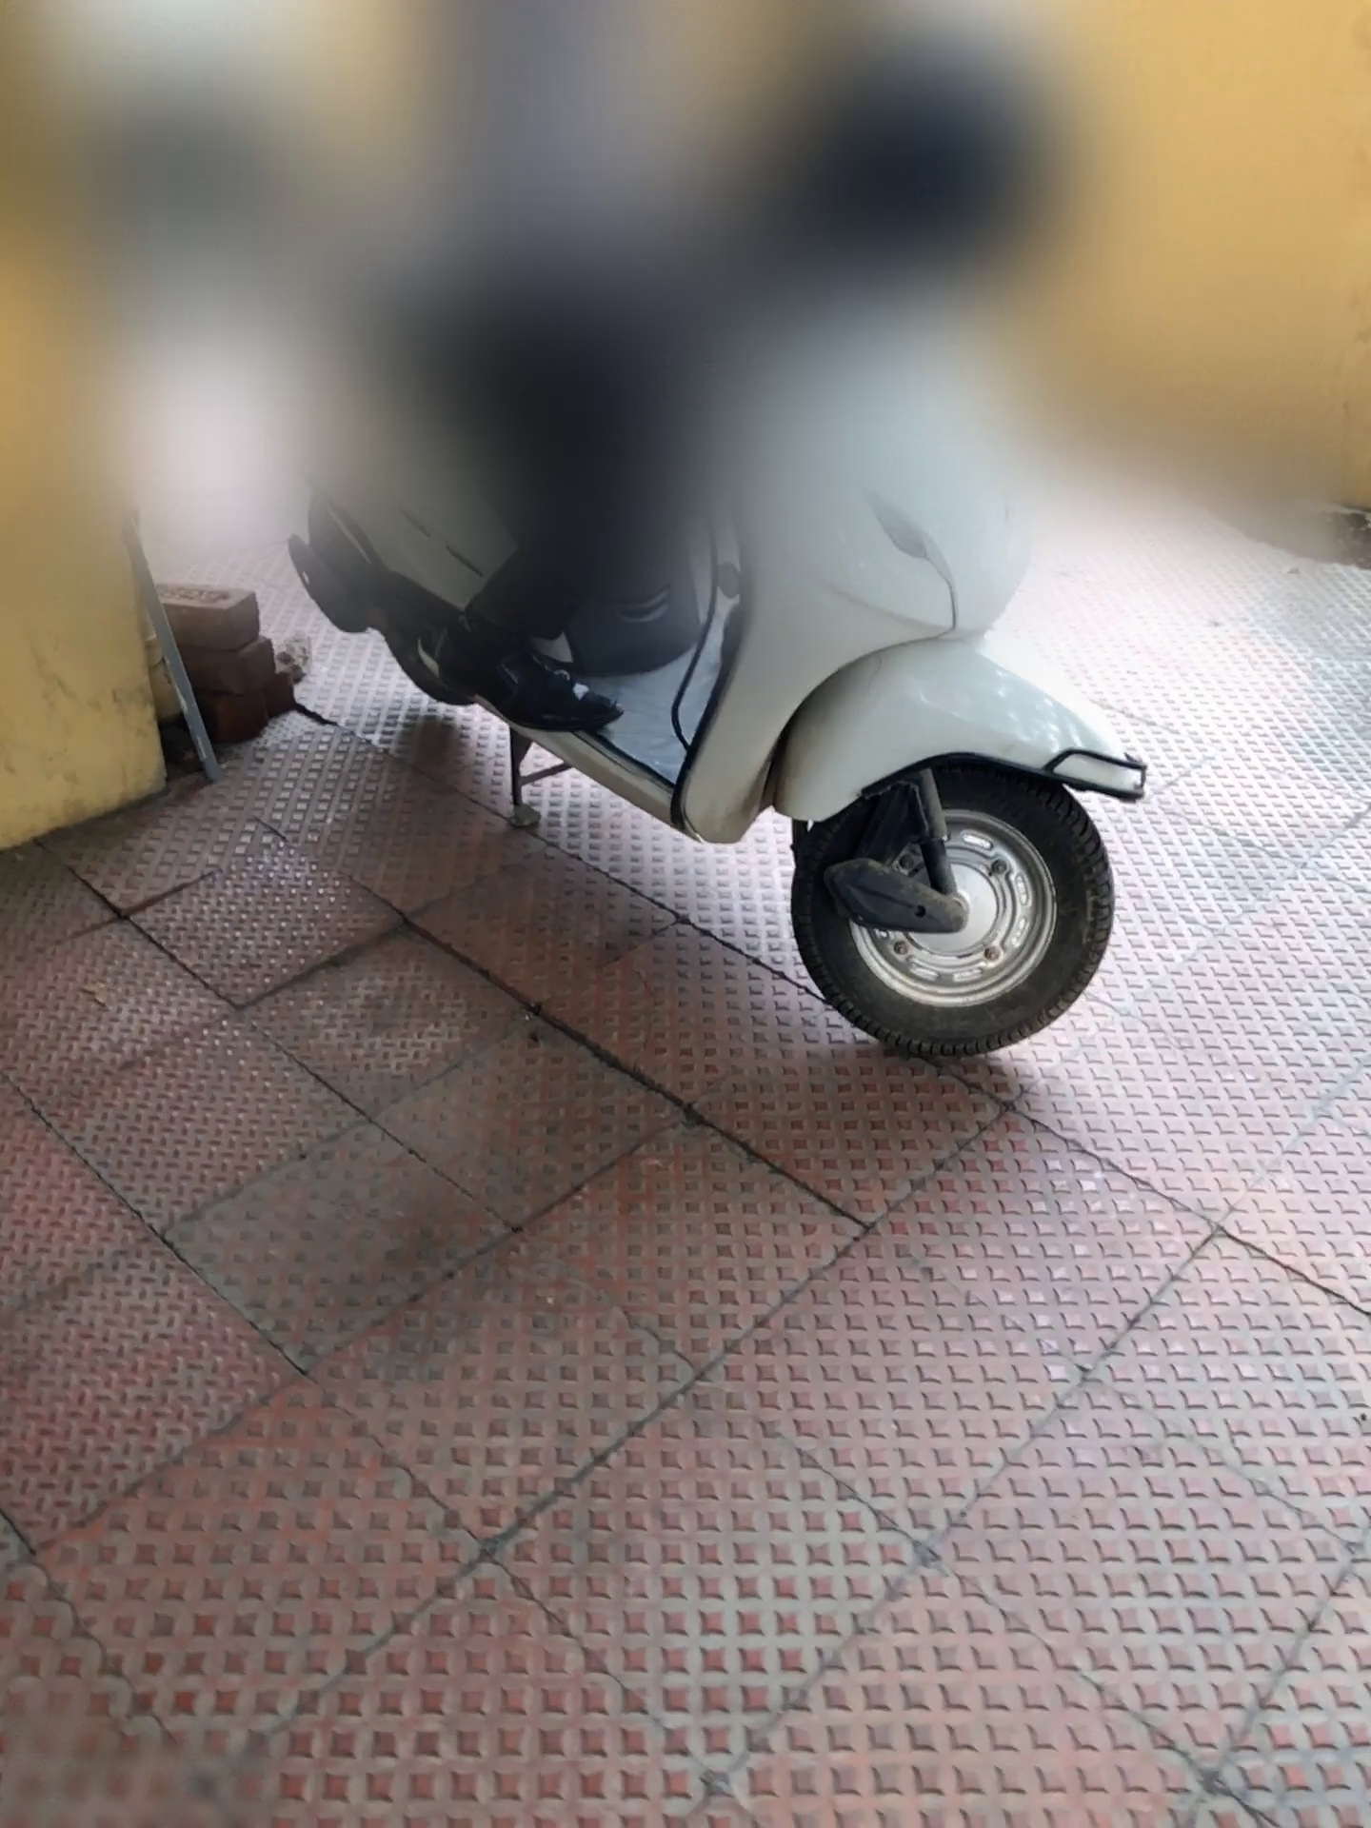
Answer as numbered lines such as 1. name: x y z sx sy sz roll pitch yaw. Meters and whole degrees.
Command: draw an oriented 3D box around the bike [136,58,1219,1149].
1. bike: -0.092 -0.580 2.319 1.390 1.108 0.660 31 42 33
